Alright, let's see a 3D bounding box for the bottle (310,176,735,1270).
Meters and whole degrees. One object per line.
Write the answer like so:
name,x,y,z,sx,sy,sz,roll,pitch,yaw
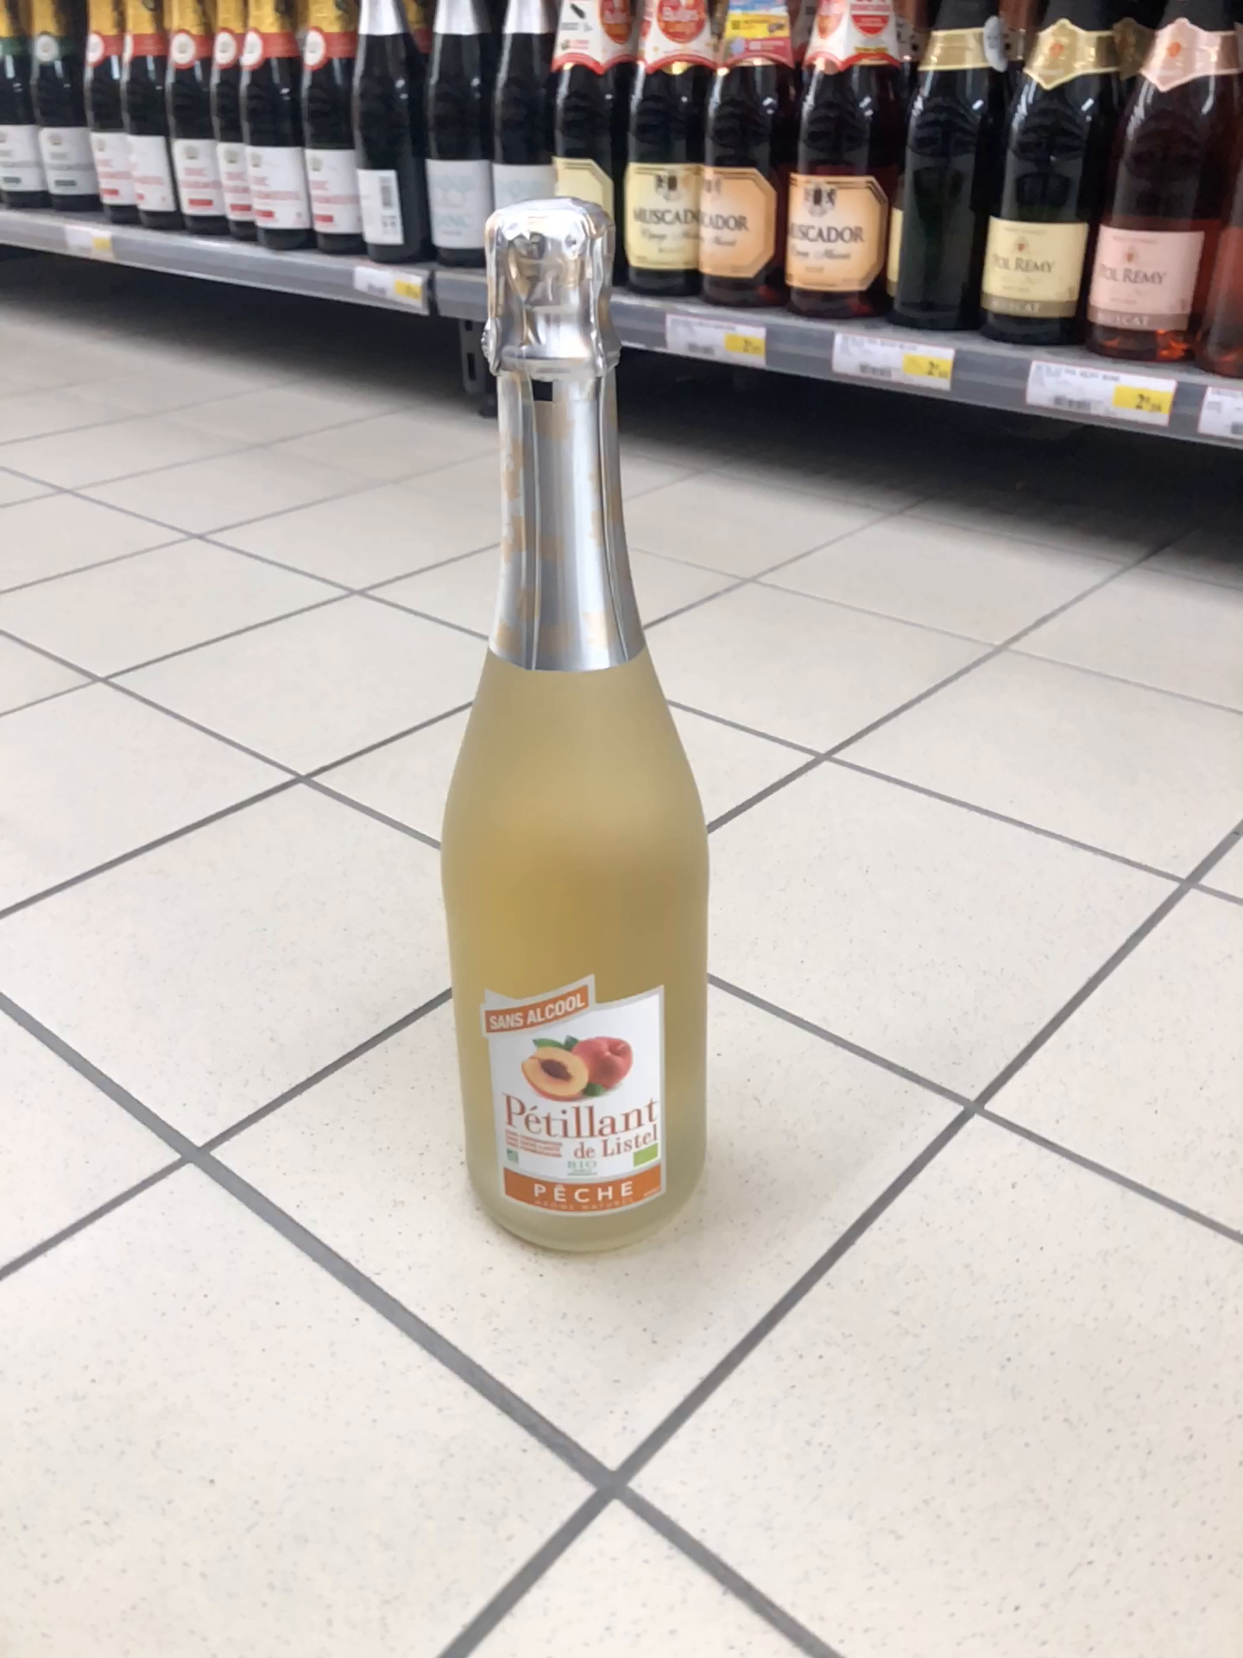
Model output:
bottle,-0.018,-0.018,0.402,0.090,0.308,0.091,-1,28,0
